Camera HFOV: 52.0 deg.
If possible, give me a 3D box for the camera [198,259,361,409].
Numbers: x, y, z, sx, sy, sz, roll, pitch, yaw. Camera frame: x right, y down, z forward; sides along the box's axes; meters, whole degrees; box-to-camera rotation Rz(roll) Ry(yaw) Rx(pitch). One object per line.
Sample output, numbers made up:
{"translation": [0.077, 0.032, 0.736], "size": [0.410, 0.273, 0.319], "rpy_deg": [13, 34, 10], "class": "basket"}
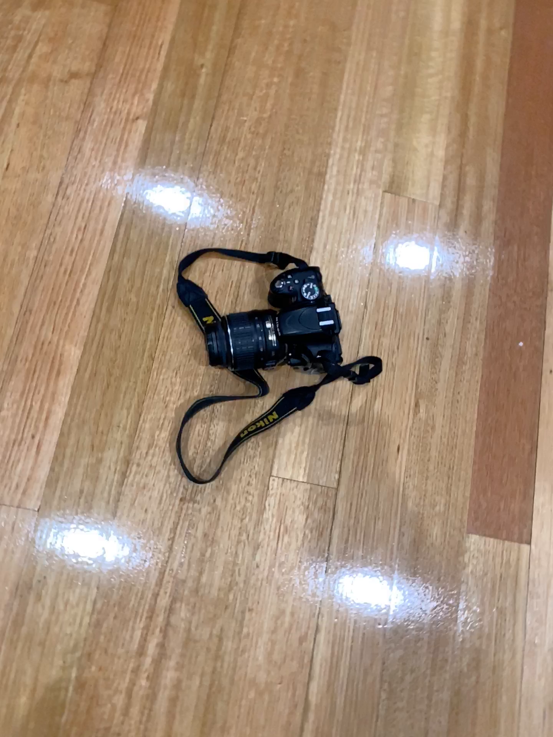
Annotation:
{"translation": [-0.003, -0.039, 0.691], "size": [0.160, 0.100, 0.130], "rpy_deg": [-12, 79, -10], "class": "camera"}
